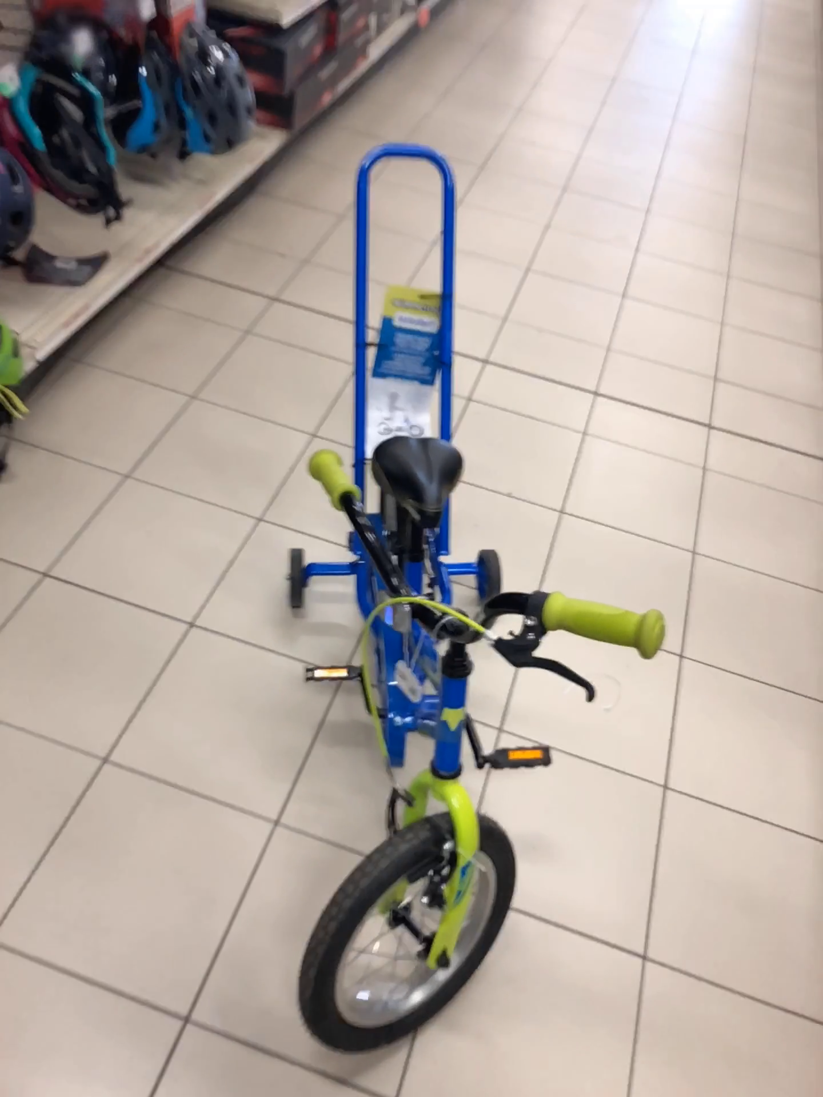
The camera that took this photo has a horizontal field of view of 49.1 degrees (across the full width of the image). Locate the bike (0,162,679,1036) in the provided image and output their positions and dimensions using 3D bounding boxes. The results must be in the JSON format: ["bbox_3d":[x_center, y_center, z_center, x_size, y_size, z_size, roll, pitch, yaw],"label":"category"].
[{"bbox_3d":[-0.080,0.050,1.246,0.538,0.763,0.958,8,45,-3],"label":"bike"}]
